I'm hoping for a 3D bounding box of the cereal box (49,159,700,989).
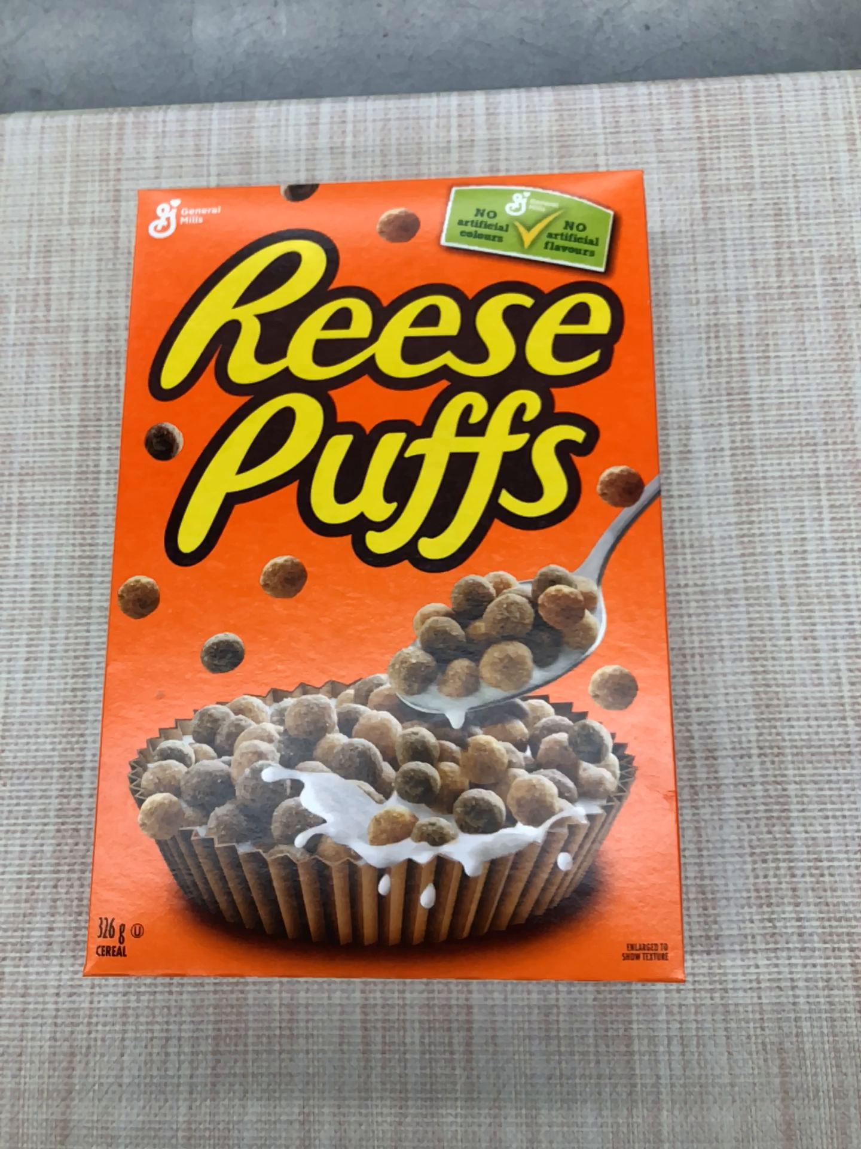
[{"bbox_3d":[-0.018,-0.005,0.348,0.200,0.060,0.280,-1,79,1],"label":"cereal box"}]
